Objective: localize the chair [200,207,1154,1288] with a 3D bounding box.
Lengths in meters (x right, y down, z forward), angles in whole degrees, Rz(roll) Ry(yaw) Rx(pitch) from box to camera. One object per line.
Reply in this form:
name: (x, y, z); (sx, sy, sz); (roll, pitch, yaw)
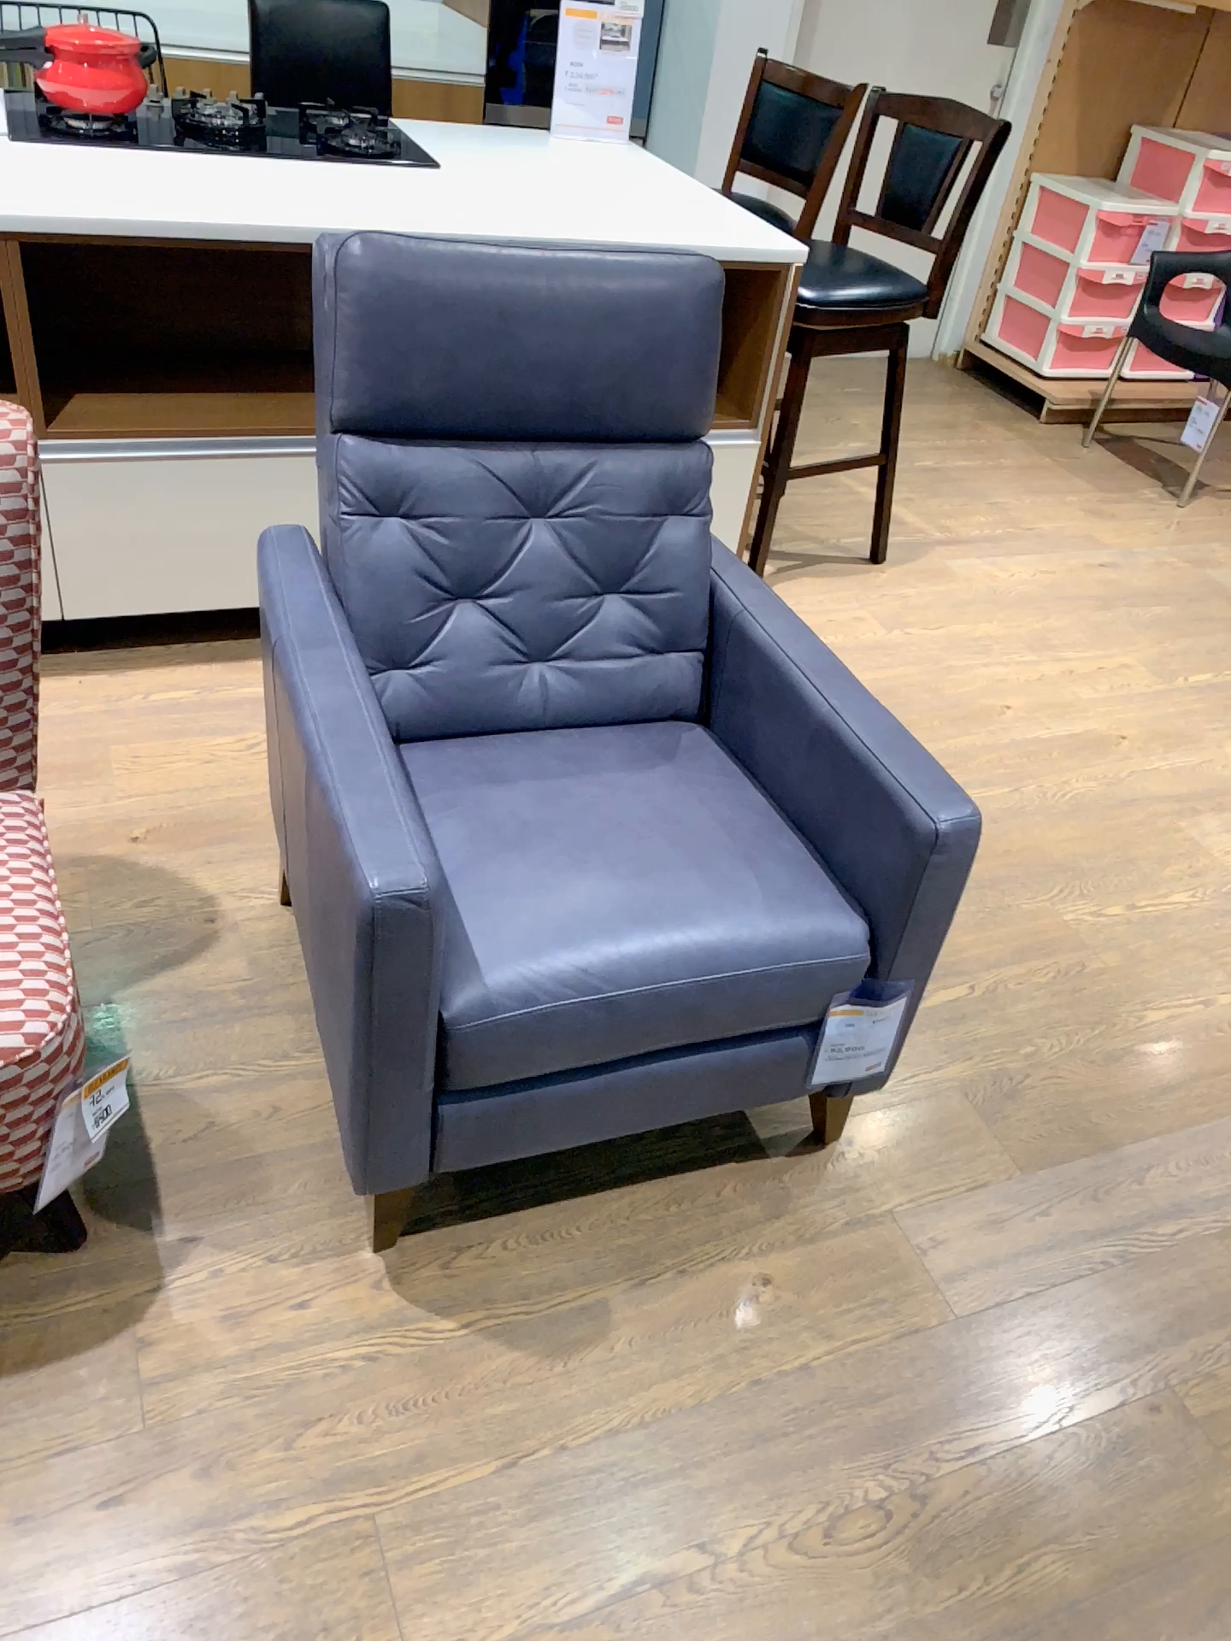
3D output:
chair: (-0.064, -0.135, 1.641); (0.771, 0.996, 0.853); (-7, 40, -20)
